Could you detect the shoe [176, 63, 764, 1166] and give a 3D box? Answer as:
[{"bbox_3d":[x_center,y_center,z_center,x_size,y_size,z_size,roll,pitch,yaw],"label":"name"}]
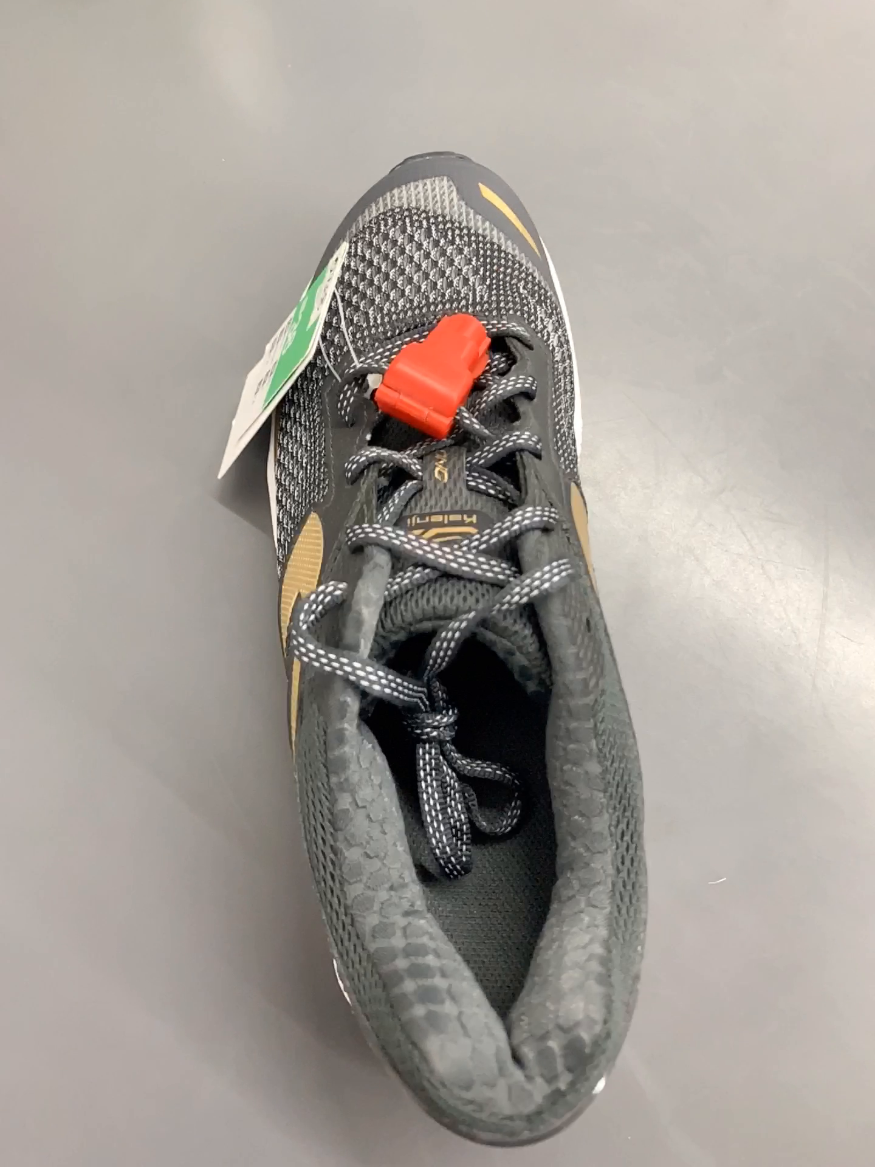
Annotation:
[{"bbox_3d":[-0.001,0.007,0.227,0.100,0.090,0.240,-3,76,-1],"label":"shoe"}]
